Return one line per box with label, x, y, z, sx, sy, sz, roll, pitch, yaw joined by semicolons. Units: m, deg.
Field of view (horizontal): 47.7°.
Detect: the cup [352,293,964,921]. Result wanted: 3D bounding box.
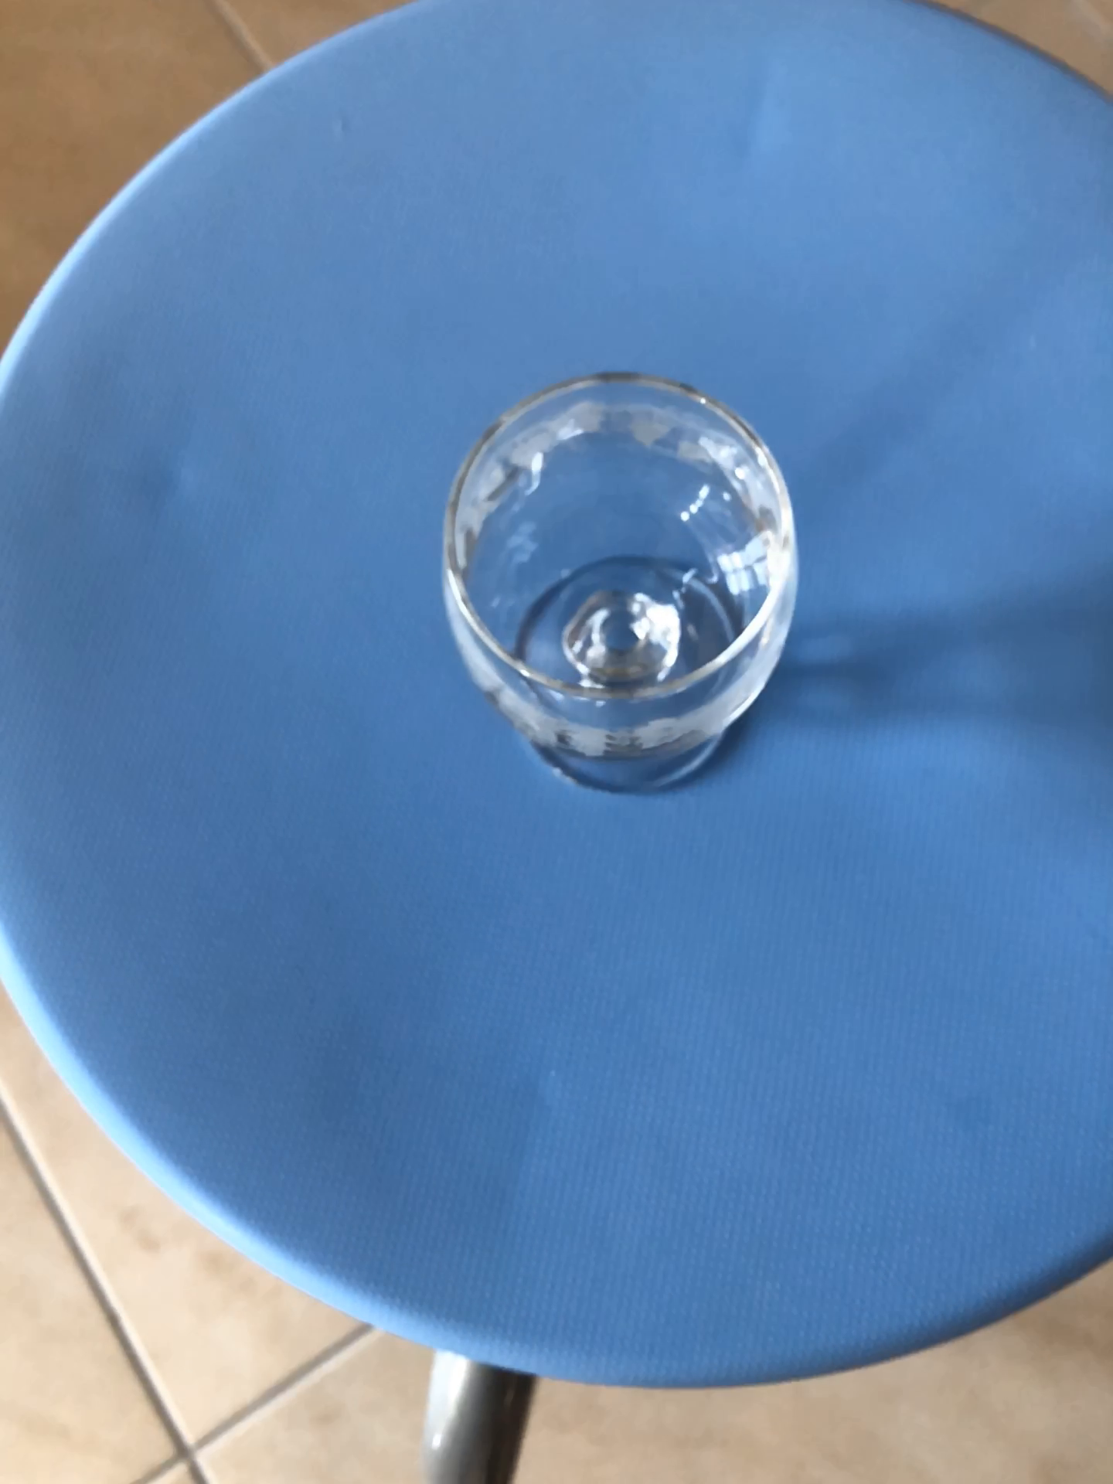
cup;0.016;-0.015;0.213;0.060;0.080;0.060;-1;77;3
